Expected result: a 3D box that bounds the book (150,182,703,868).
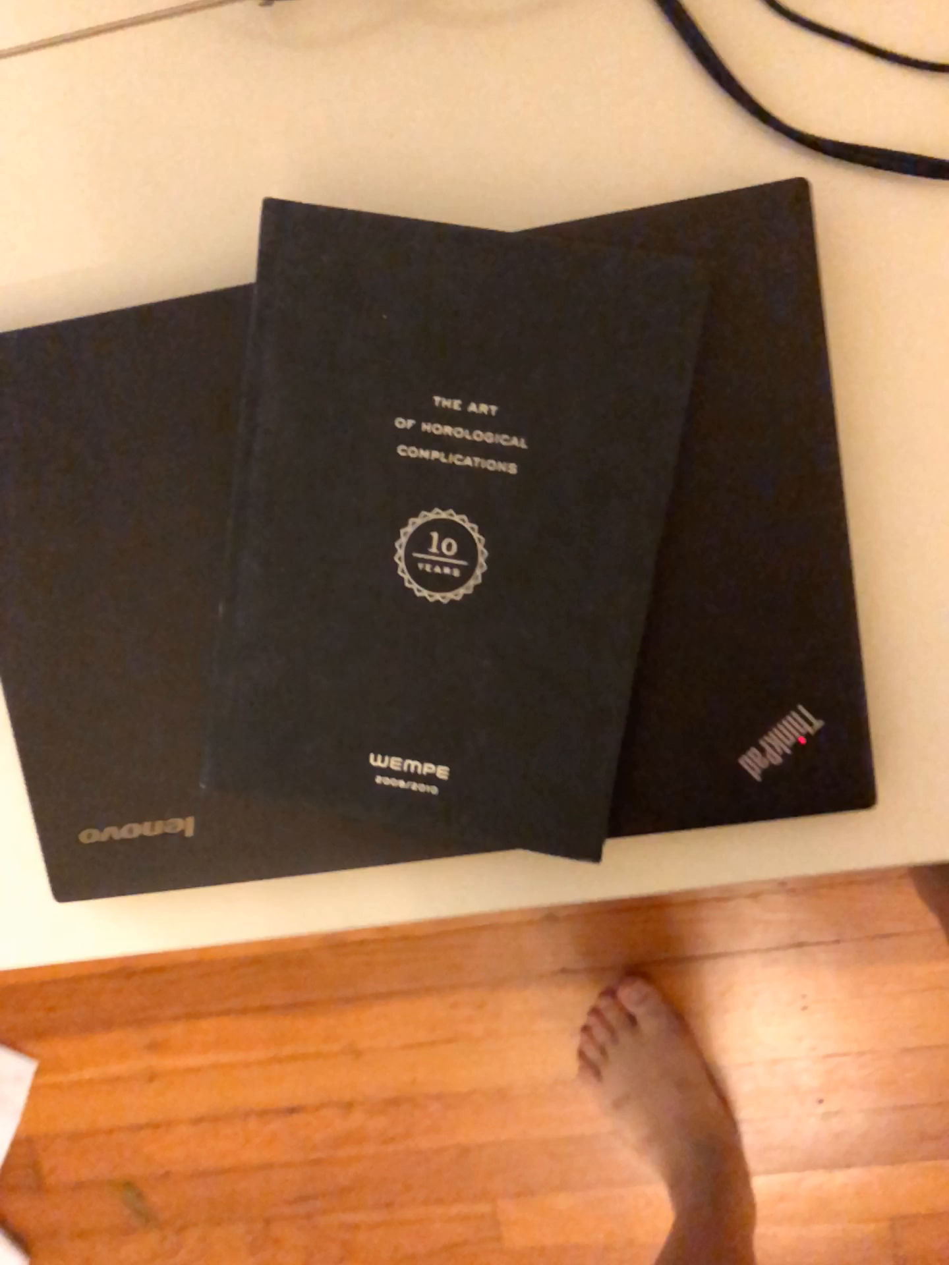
[{"bbox_3d":[-0.022,-0.037,0.390,0.170,0.030,0.220,9,99,5],"label":"book"}]
